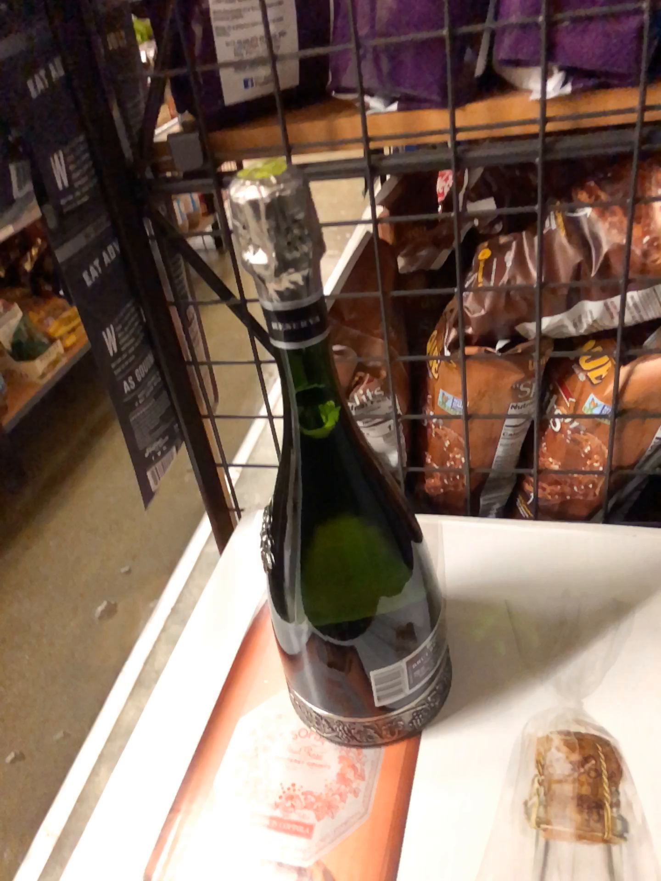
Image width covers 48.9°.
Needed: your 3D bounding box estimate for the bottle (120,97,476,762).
[{"bbox_3d":[0.010,0.018,0.383,0.110,0.332,0.122,-4,34,8],"label":"bottle"}]
